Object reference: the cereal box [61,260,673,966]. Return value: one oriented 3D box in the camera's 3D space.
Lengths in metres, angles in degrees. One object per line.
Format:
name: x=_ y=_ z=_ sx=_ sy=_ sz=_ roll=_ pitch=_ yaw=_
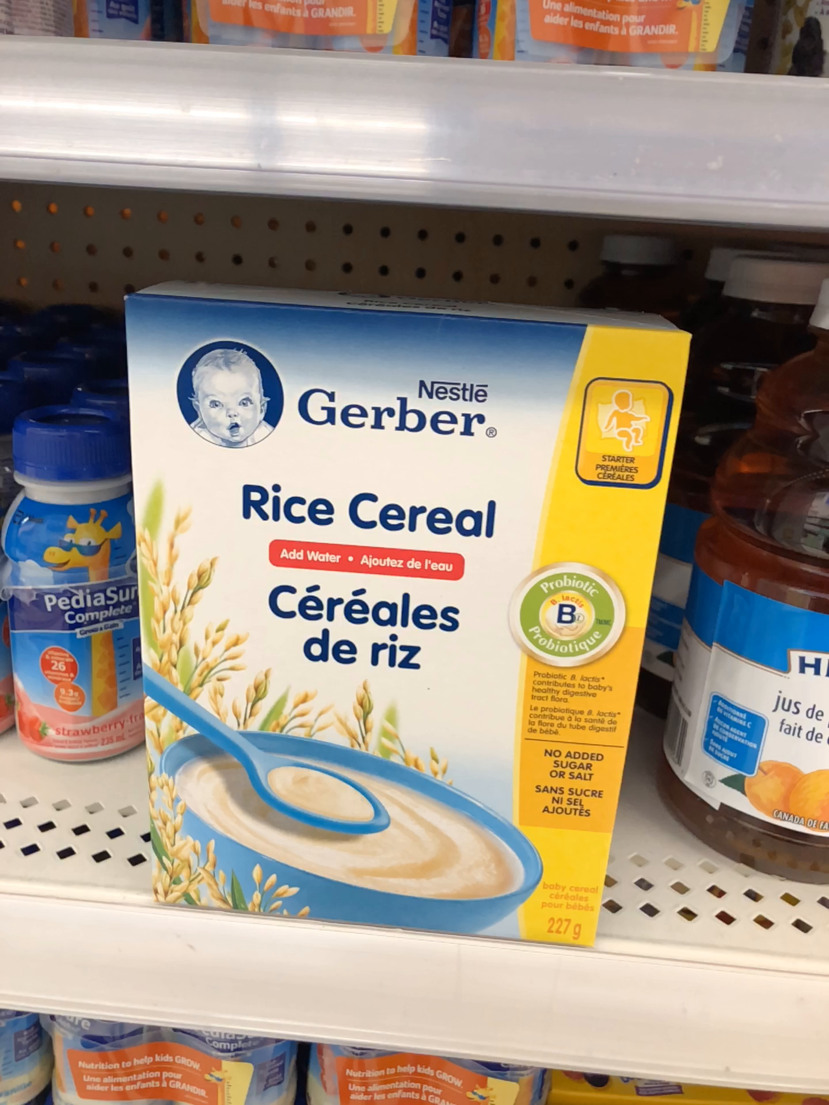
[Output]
cereal box: x=-0.018 y=0.021 z=0.287 sx=0.150 sy=0.199 sz=0.060 roll=5 pitch=21 yaw=2
